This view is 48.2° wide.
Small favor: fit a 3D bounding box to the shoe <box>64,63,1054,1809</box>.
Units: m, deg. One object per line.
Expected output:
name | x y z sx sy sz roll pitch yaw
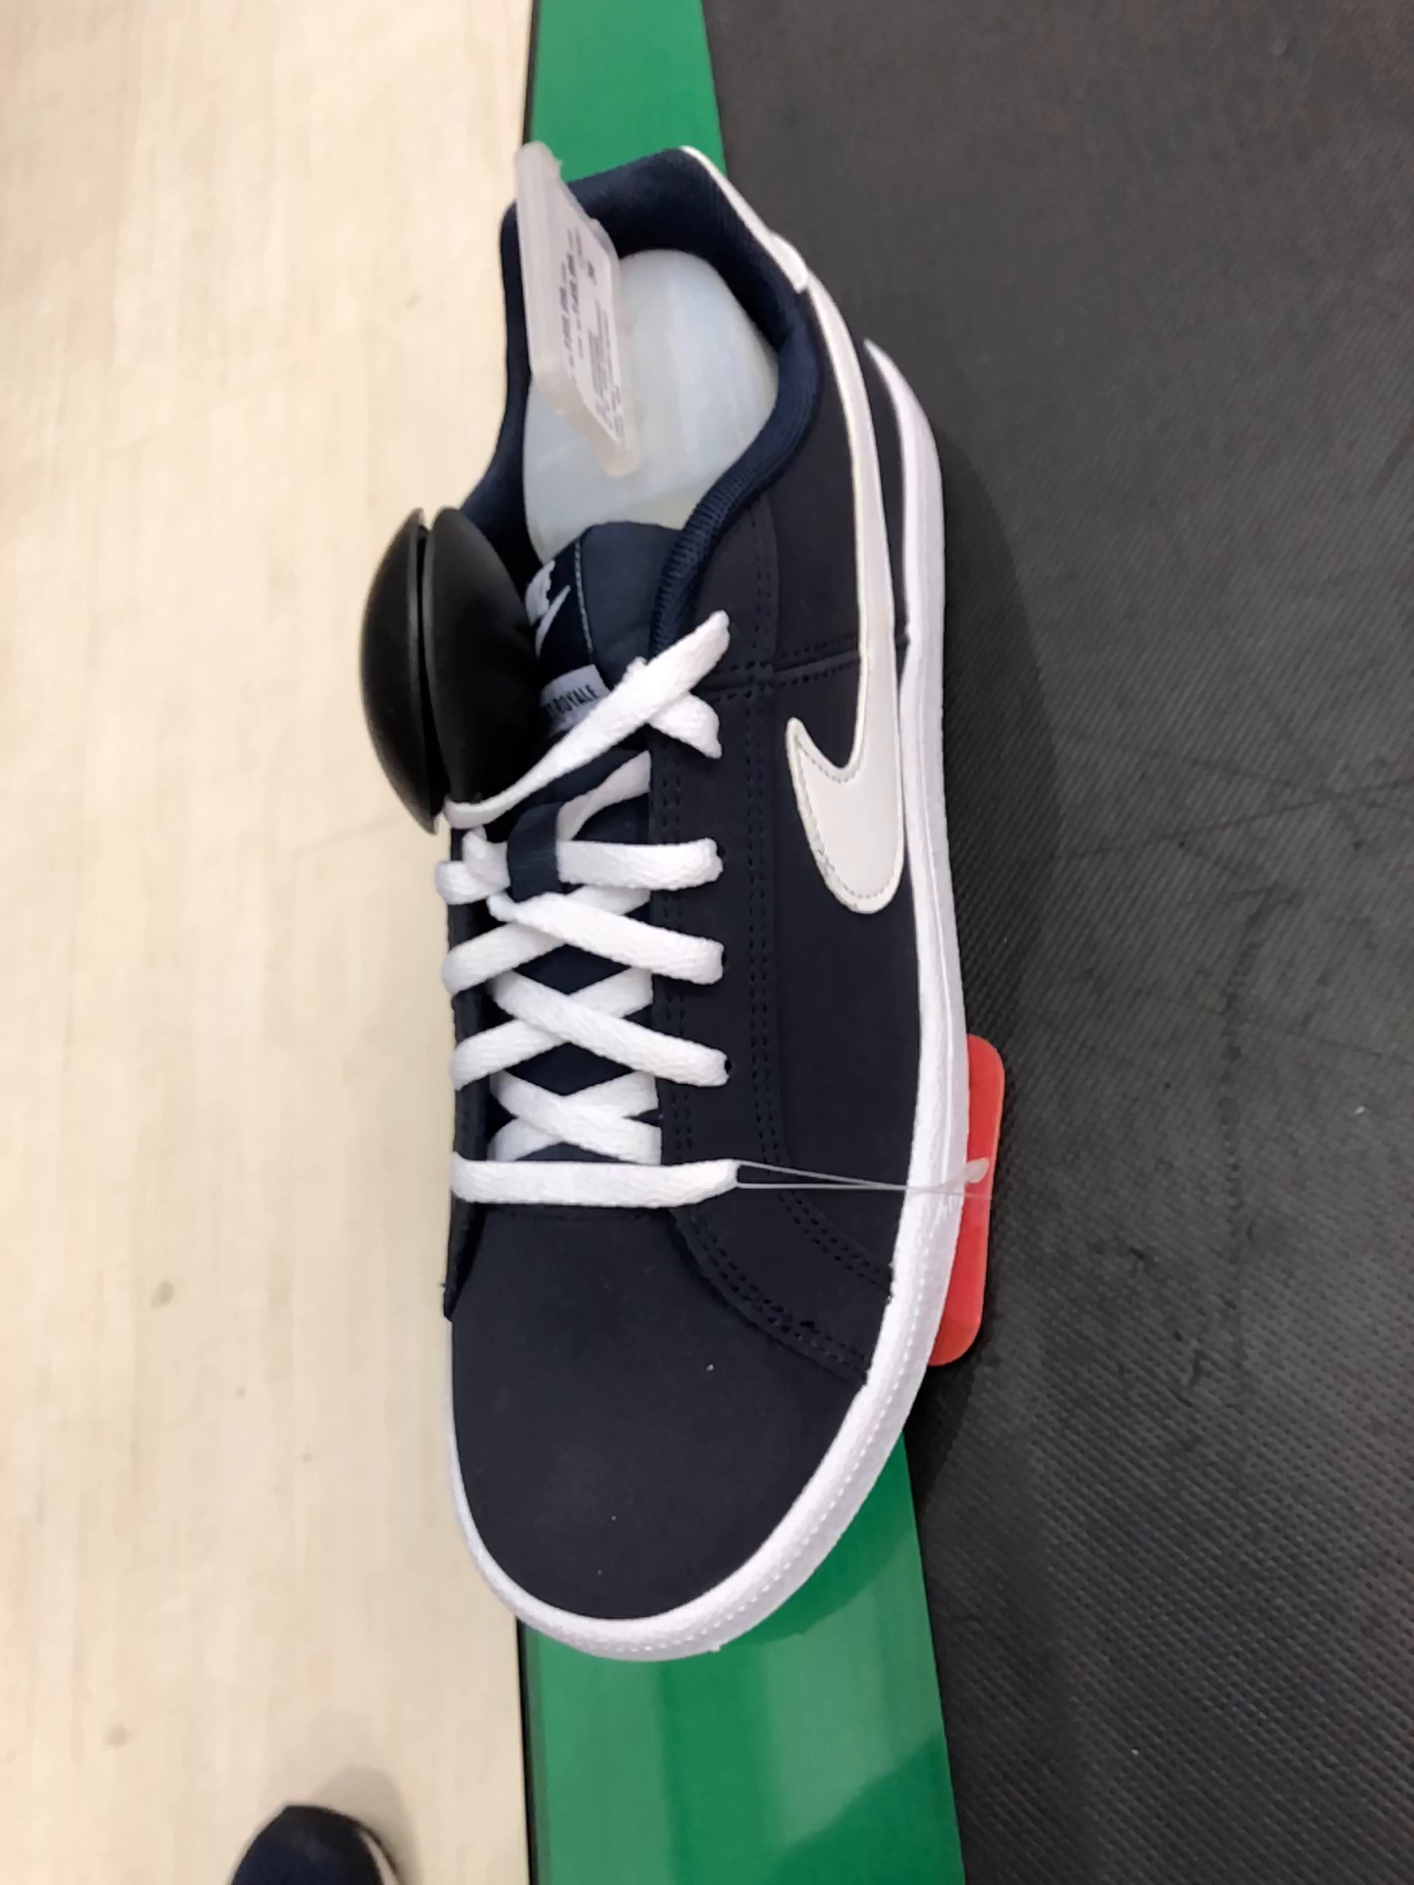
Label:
shoe | -0.011 -0.006 0.278 0.110 0.090 0.250 -2 71 27
